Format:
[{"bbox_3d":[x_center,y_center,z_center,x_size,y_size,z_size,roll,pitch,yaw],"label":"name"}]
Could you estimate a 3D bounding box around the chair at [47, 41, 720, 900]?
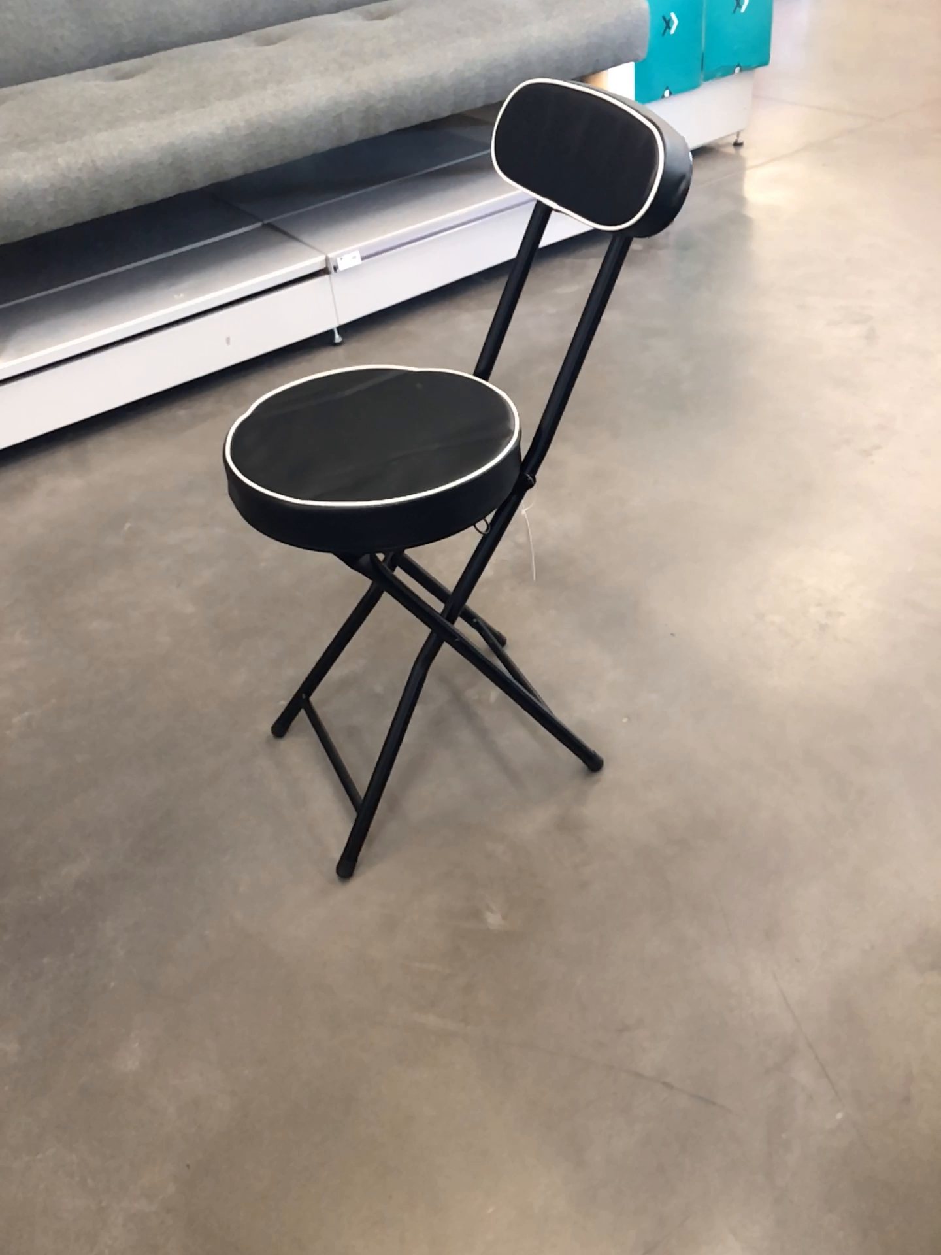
[{"bbox_3d":[-0.054,-0.155,1.146,0.511,0.756,0.341,-21,41,-15],"label":"chair"}]
